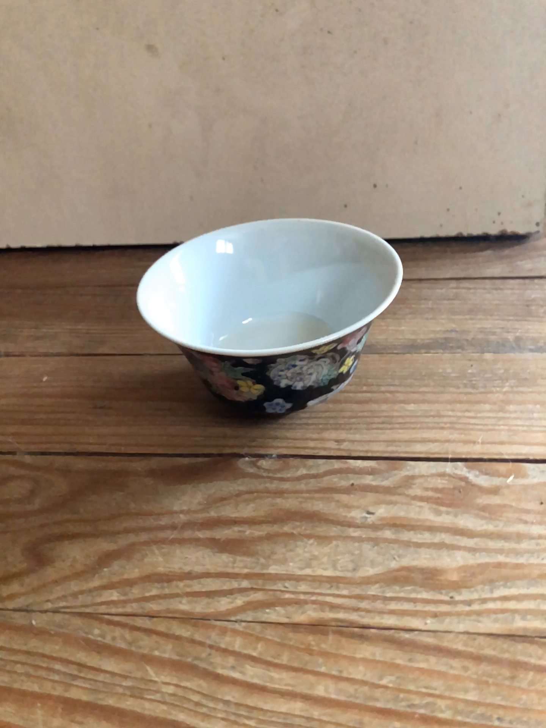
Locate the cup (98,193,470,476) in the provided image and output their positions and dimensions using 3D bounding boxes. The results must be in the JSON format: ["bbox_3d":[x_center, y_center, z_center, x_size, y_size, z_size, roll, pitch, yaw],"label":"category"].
[{"bbox_3d":[0.002,-0.022,0.252,0.110,0.040,0.100,-23,41,-23],"label":"cup"}]
